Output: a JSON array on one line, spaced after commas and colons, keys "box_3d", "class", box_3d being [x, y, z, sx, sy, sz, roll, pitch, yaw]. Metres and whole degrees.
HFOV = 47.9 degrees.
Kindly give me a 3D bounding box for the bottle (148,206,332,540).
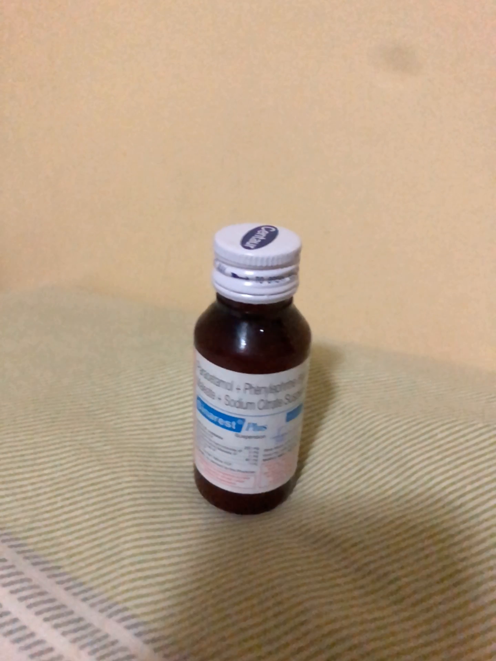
[{"box_3d": [-0.002, 0.015, 0.189, 0.040, 0.100, 0.037, 0, 30, 0], "class": "bottle"}]
